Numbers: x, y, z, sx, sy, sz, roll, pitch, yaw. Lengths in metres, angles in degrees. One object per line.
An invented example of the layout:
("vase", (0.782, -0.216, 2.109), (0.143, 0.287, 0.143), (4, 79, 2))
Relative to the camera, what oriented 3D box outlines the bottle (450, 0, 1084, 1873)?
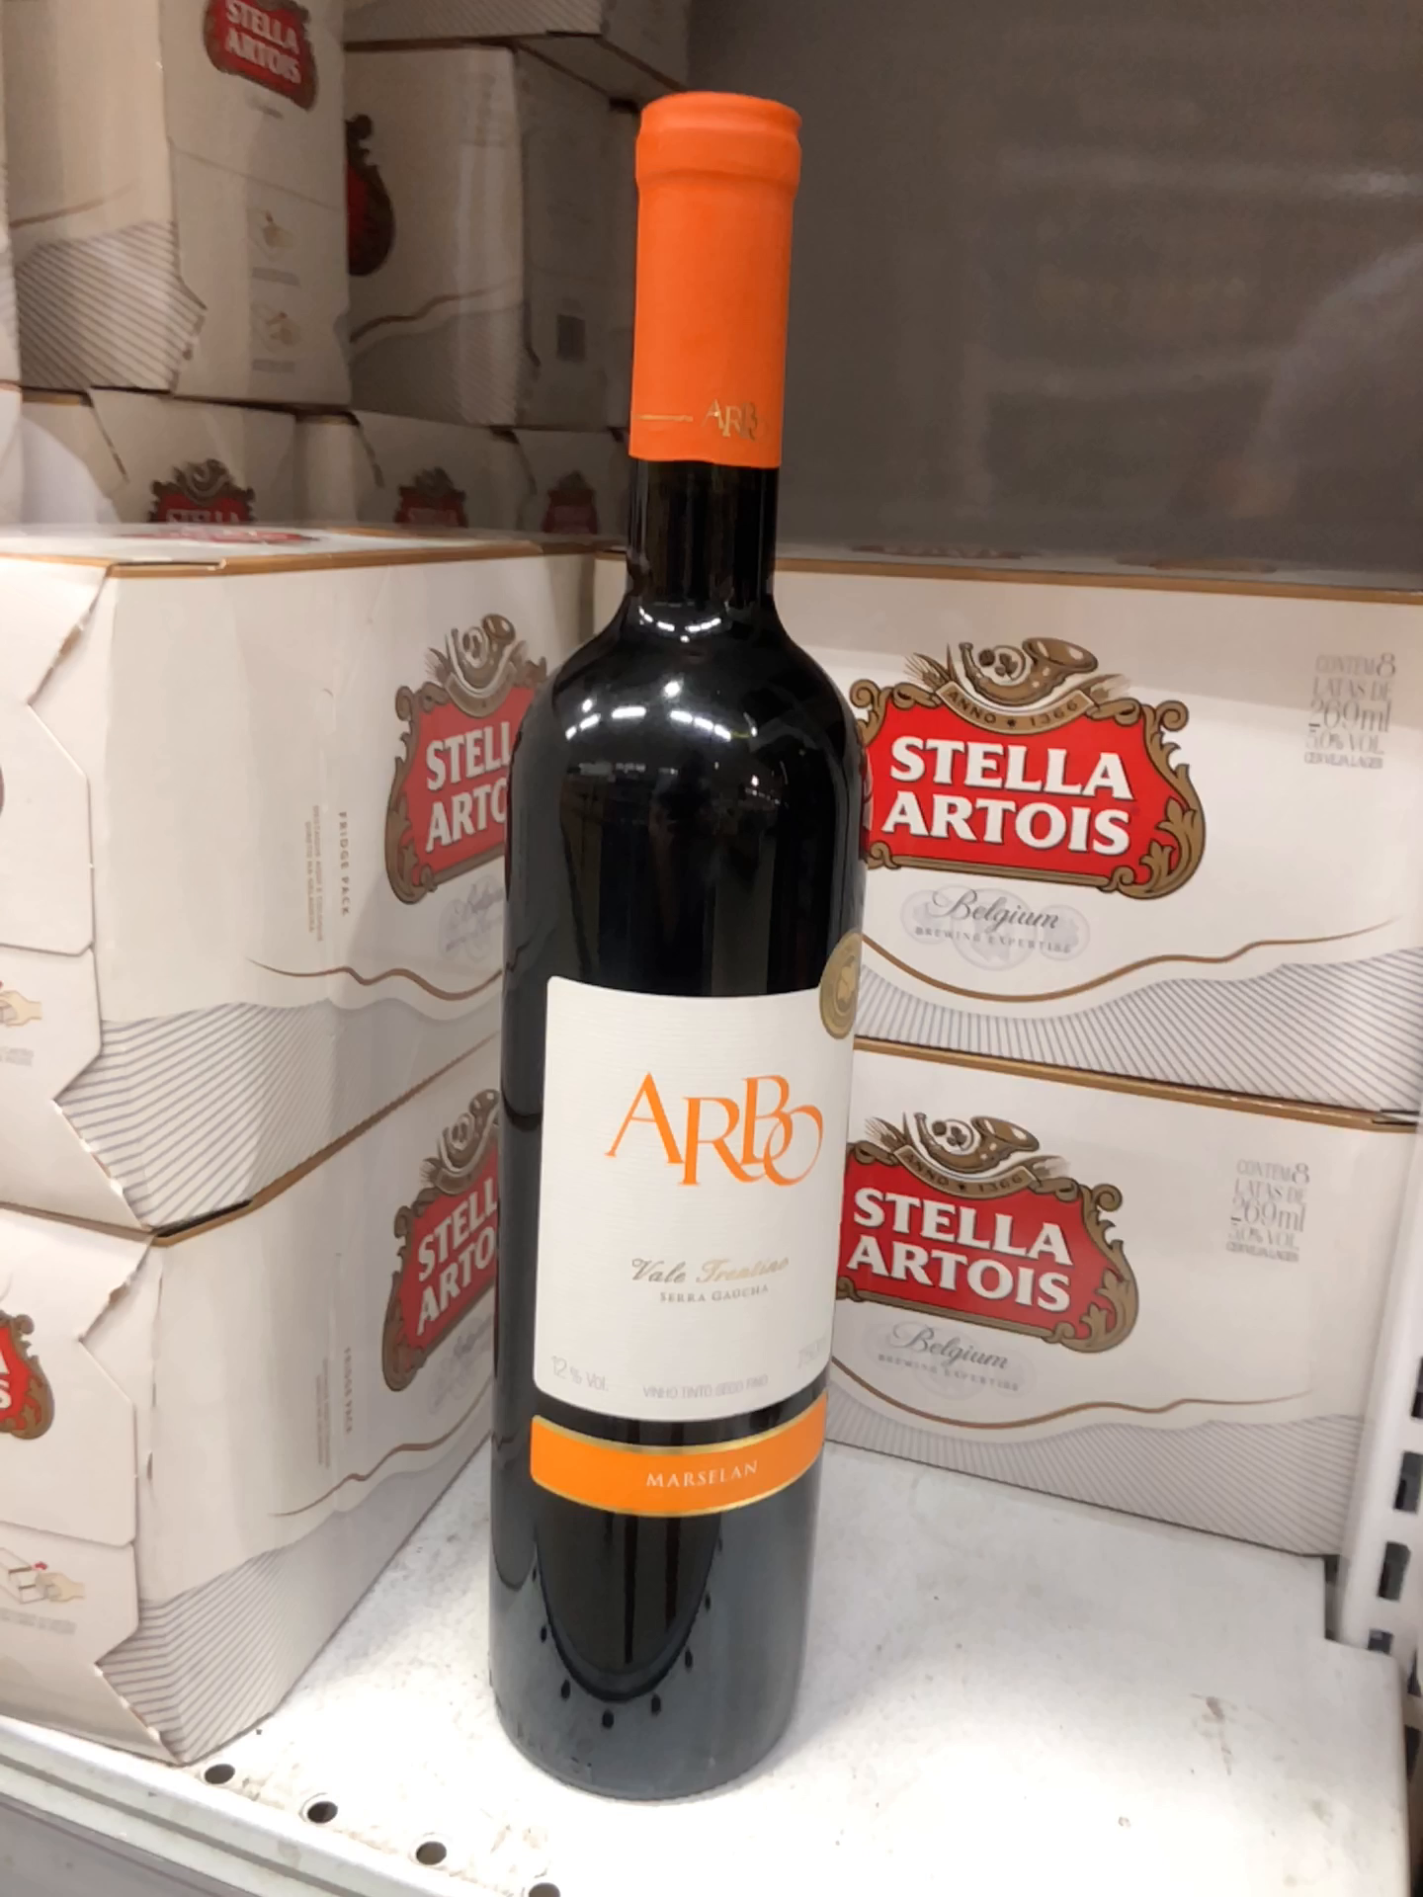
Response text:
("bottle", (-0.001, 0.011, 0.291), (0.080, 0.308, 0.070), (-3, 18, -18))
